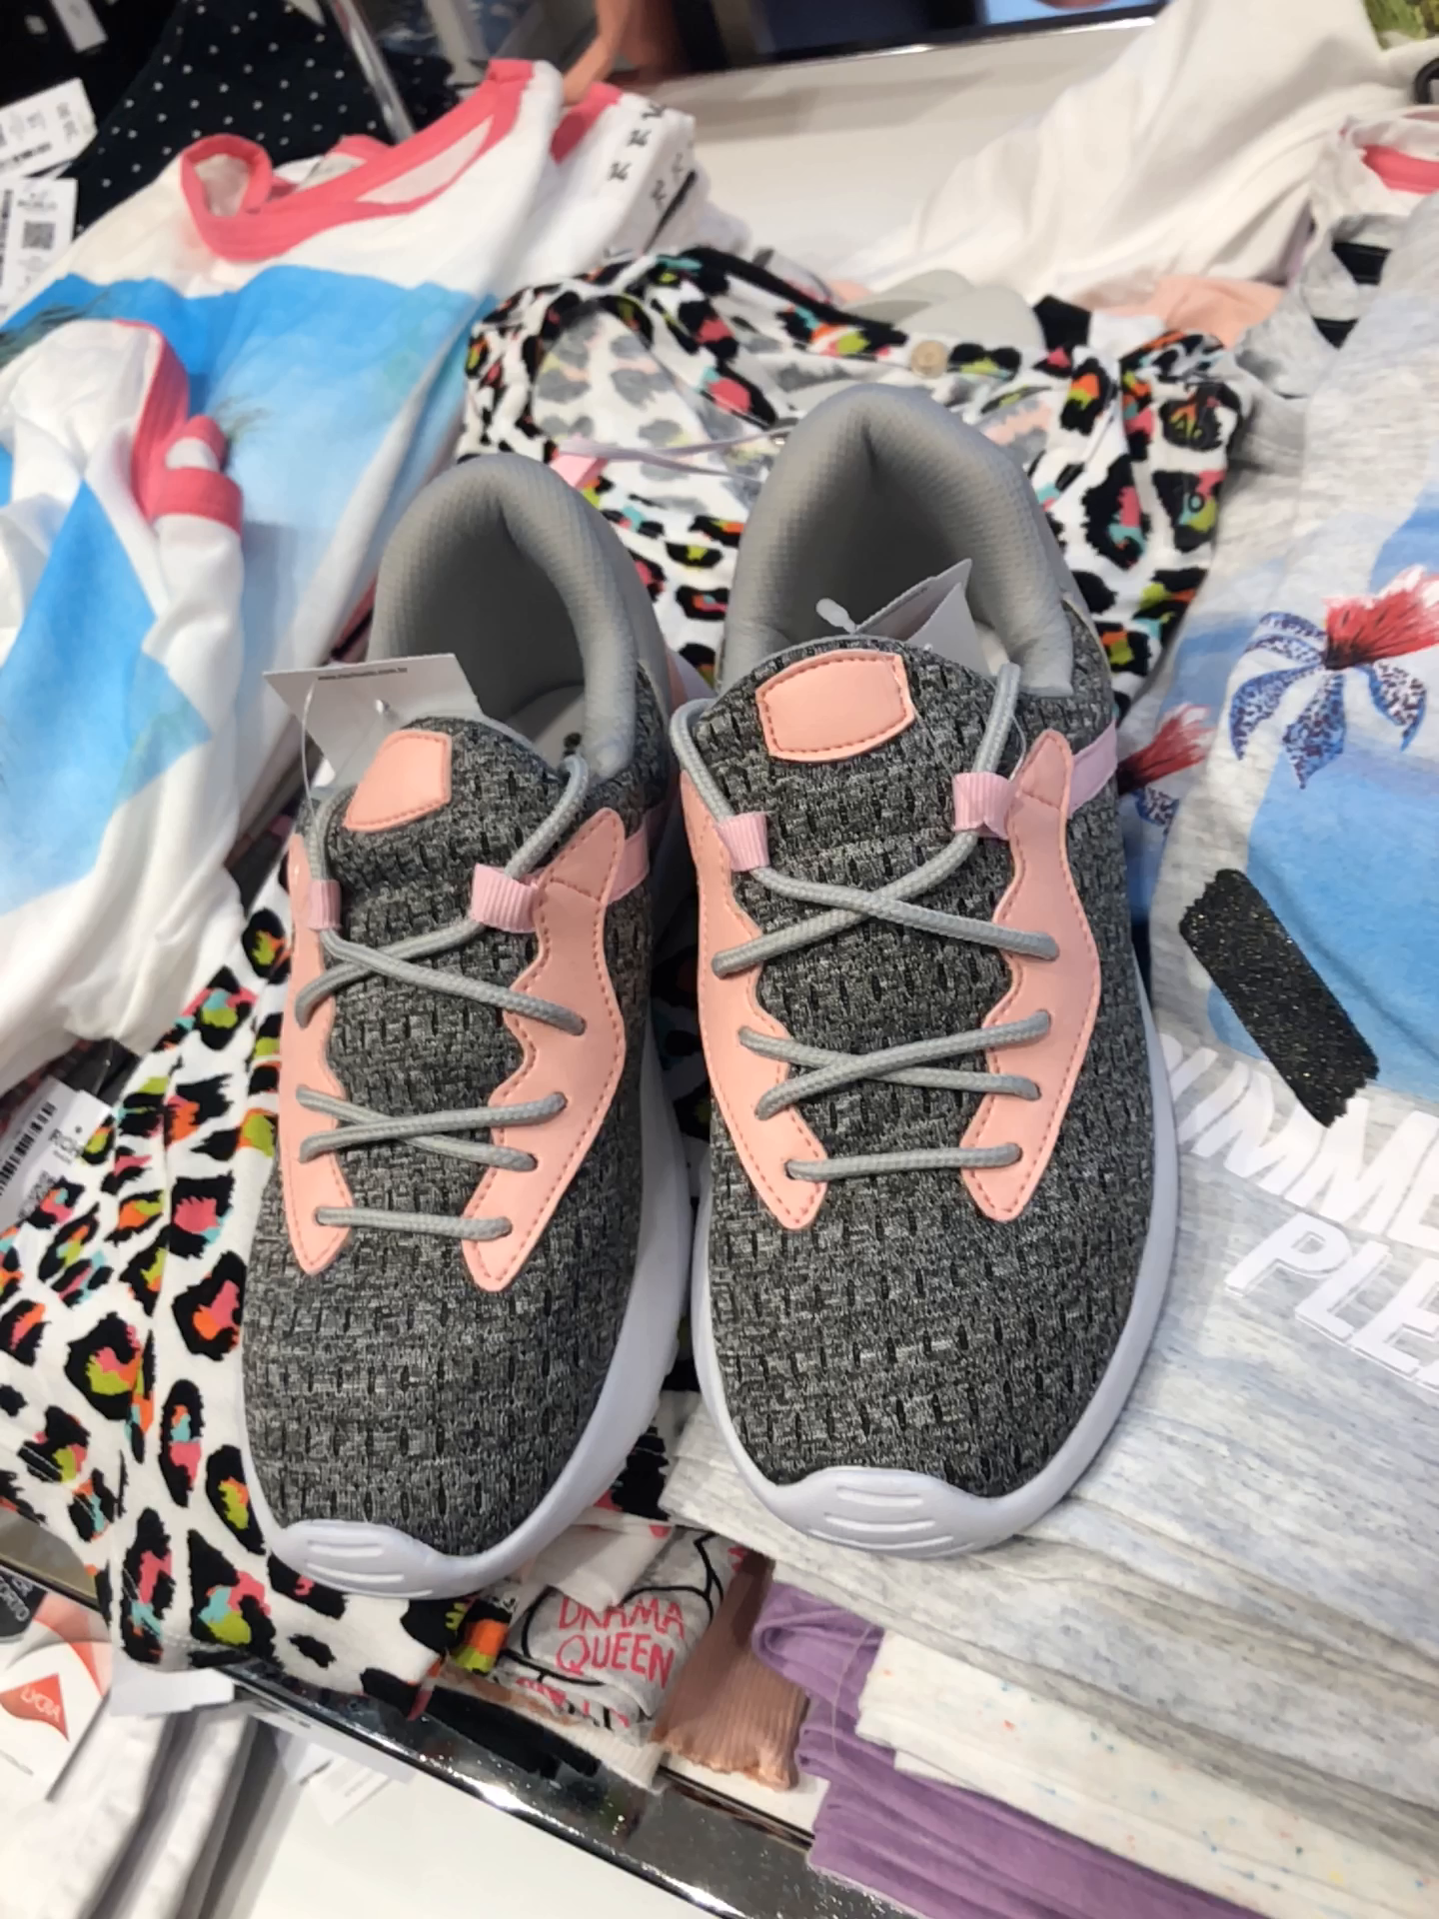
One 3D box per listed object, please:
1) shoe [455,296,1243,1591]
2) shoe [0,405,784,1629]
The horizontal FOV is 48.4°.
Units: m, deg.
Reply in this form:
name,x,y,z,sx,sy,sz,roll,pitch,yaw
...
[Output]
name,x,y,z,sx,sy,sz,roll,pitch,yaw
shoe,0.032,-0.004,0.299,0.100,0.099,0.211,-6,58,16
shoe,-0.057,0.008,0.331,0.100,0.099,0.221,-4,58,18
